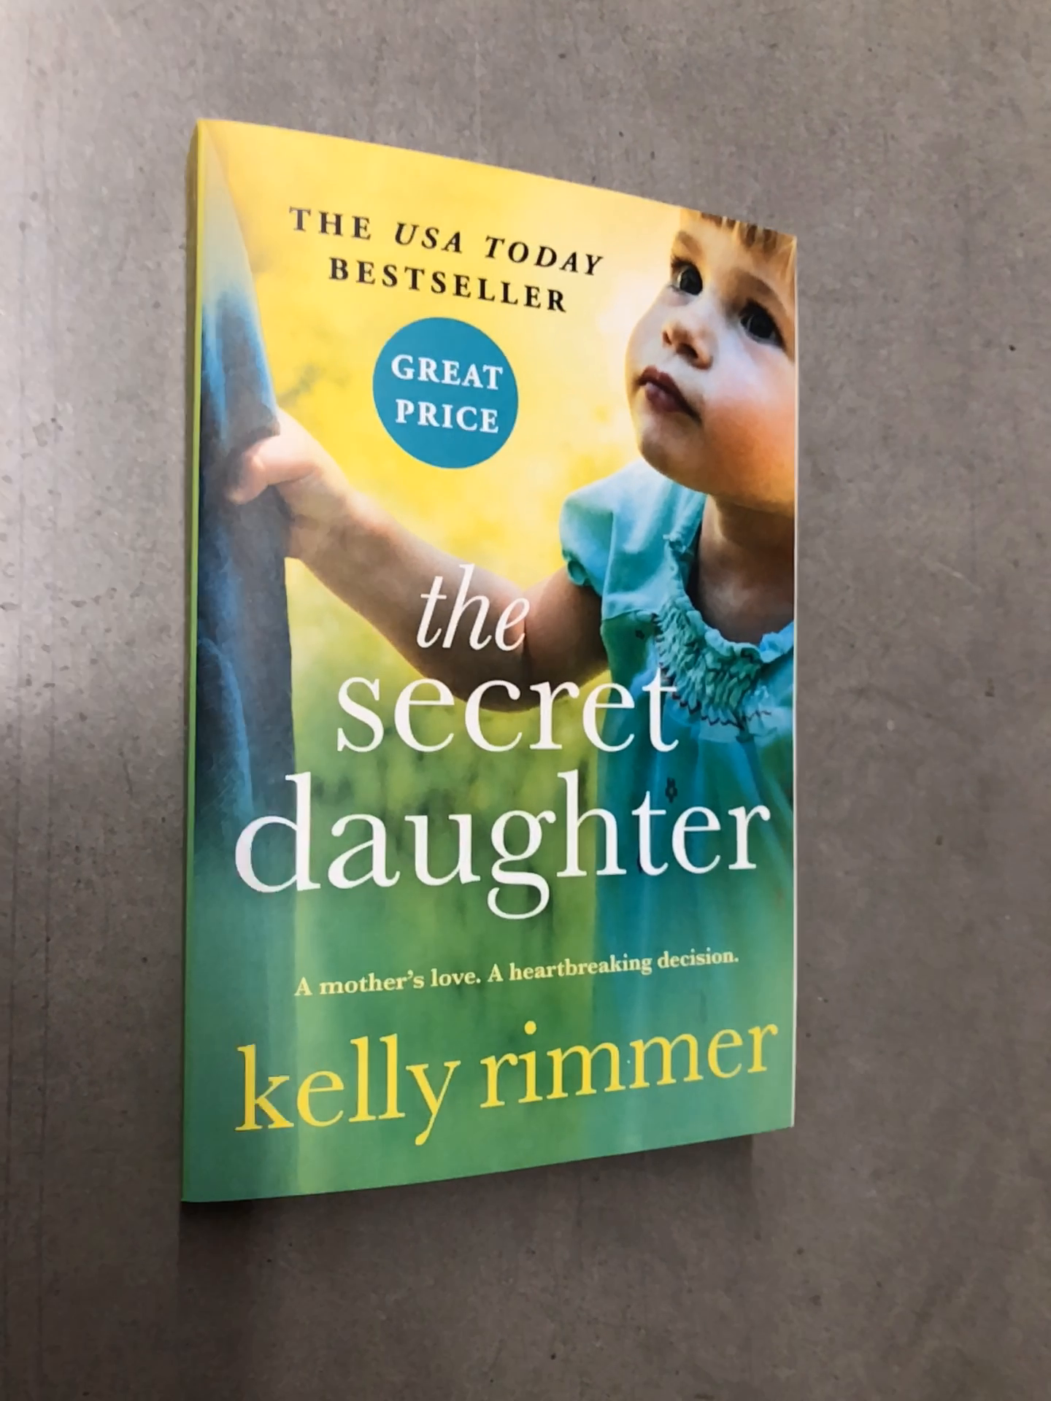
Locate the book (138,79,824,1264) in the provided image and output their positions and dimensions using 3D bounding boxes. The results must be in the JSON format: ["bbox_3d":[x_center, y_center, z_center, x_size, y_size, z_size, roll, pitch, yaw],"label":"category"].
[{"bbox_3d":[-0.005,-0.005,0.246,0.140,0.030,0.210,1,88,-21],"label":"book"}]
